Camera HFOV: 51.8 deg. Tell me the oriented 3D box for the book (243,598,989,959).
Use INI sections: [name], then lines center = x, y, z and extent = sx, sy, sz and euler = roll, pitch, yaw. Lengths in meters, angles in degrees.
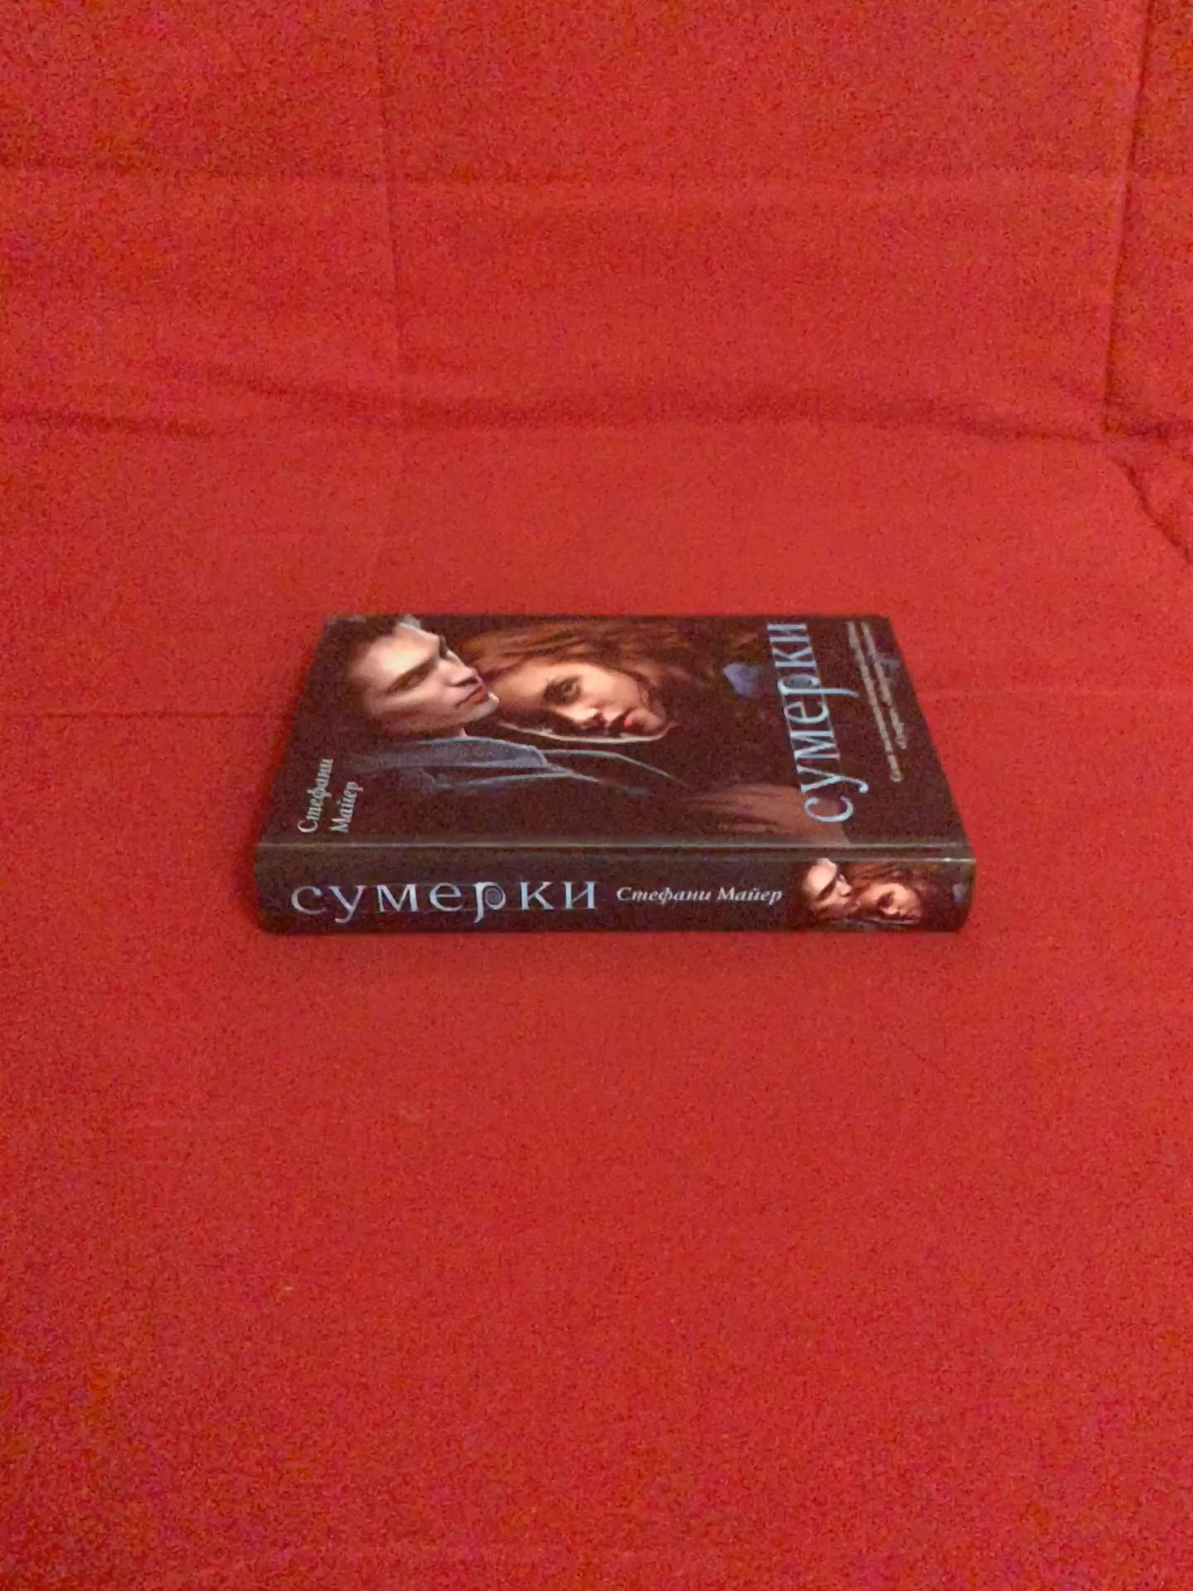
[book]
center = 0.005, -0.011, 0.405
extent = 0.209, 0.036, 0.134
euler = 1, 43, 0
